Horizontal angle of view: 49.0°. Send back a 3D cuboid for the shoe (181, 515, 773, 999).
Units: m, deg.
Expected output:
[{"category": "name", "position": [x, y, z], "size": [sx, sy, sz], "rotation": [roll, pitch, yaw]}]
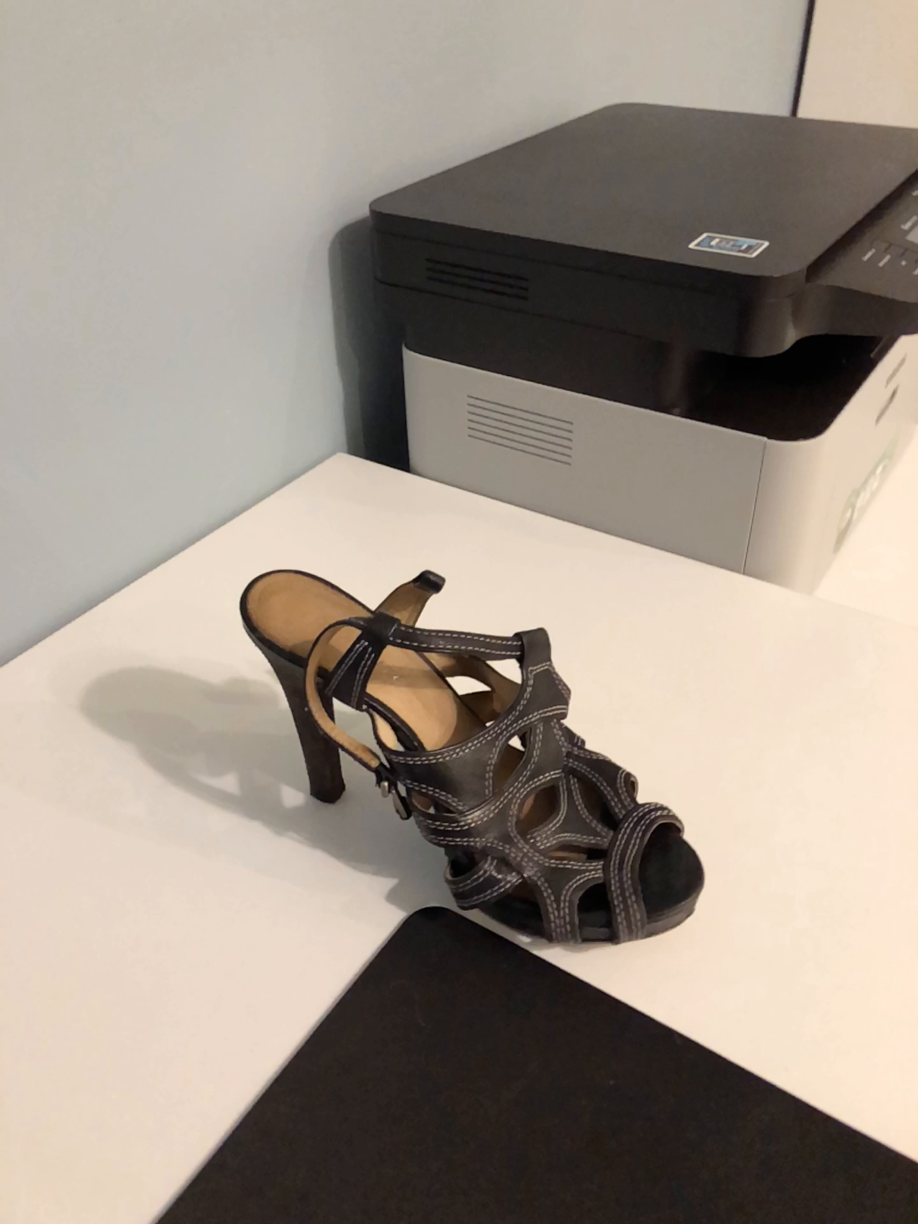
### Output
[{"category": "shoe", "position": [0.005, 0.051, 0.439], "size": [0.220, 0.099, 0.101], "rotation": [19, 40, 24]}]
